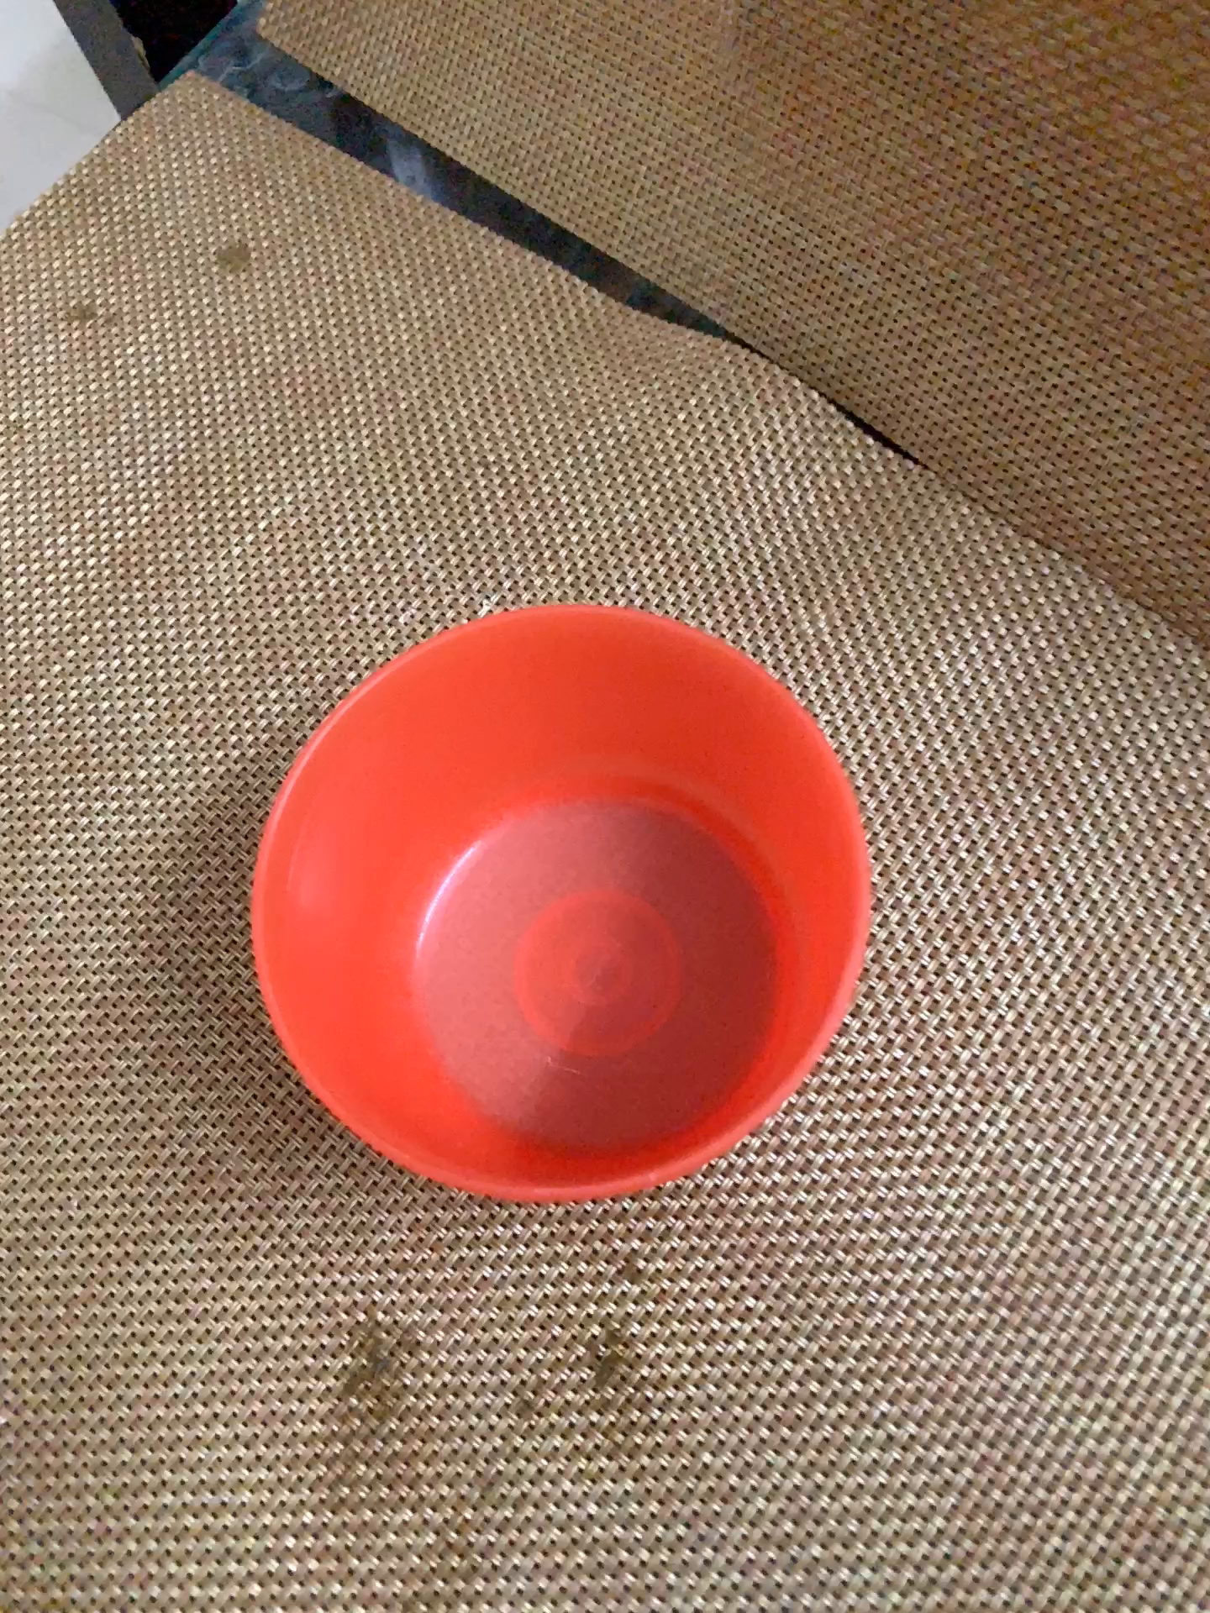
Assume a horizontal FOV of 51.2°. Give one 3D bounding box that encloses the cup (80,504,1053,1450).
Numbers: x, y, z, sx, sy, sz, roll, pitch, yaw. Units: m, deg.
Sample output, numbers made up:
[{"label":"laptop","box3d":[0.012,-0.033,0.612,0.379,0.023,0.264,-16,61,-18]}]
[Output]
[{"label":"cup","box3d":[-0.002,0.020,0.166,0.081,0.050,0.078,-2,68,5]}]
